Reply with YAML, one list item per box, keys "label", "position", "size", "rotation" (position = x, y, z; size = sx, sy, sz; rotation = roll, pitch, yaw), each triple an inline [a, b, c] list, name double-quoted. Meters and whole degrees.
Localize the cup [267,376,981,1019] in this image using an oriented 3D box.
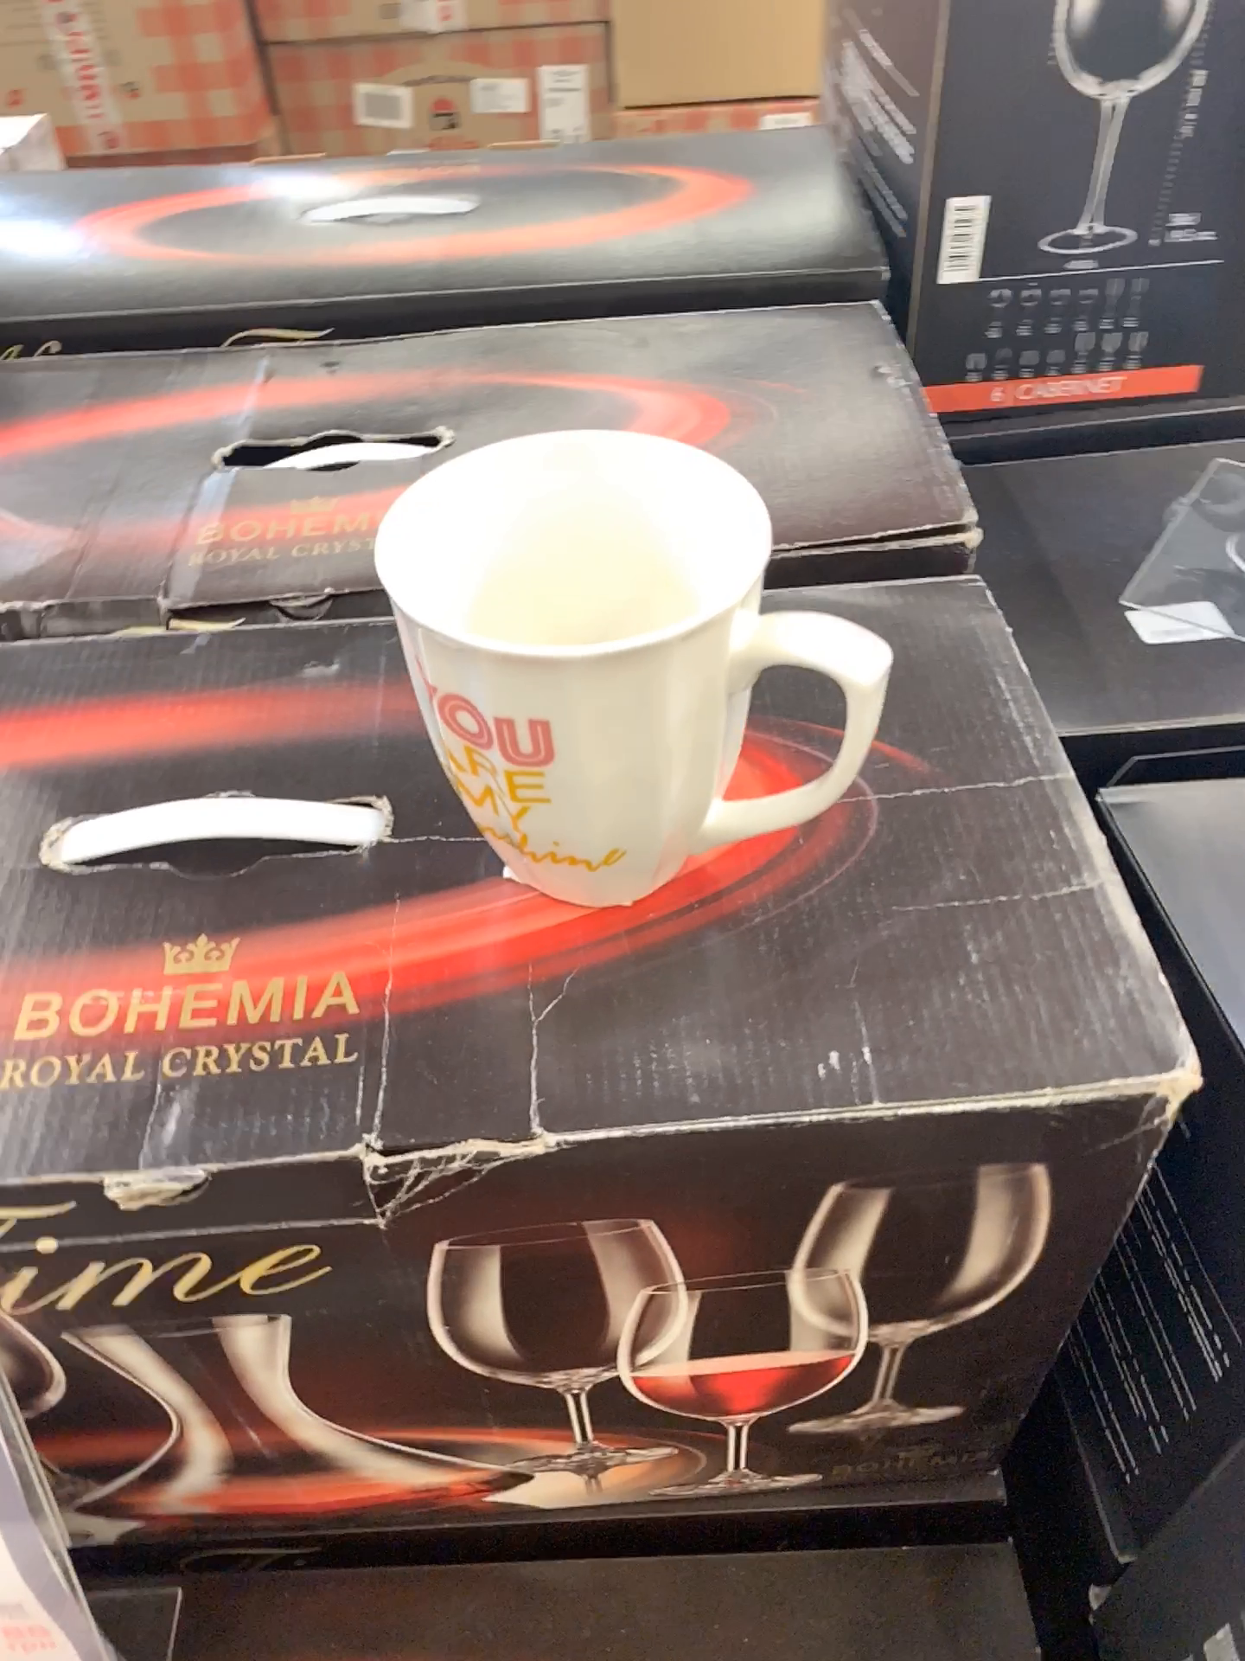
- label: "cup"
  position: [0.003, -0.036, 0.293]
  size: [0.120, 0.080, 0.090]
  rotation: [20, 50, 21]
